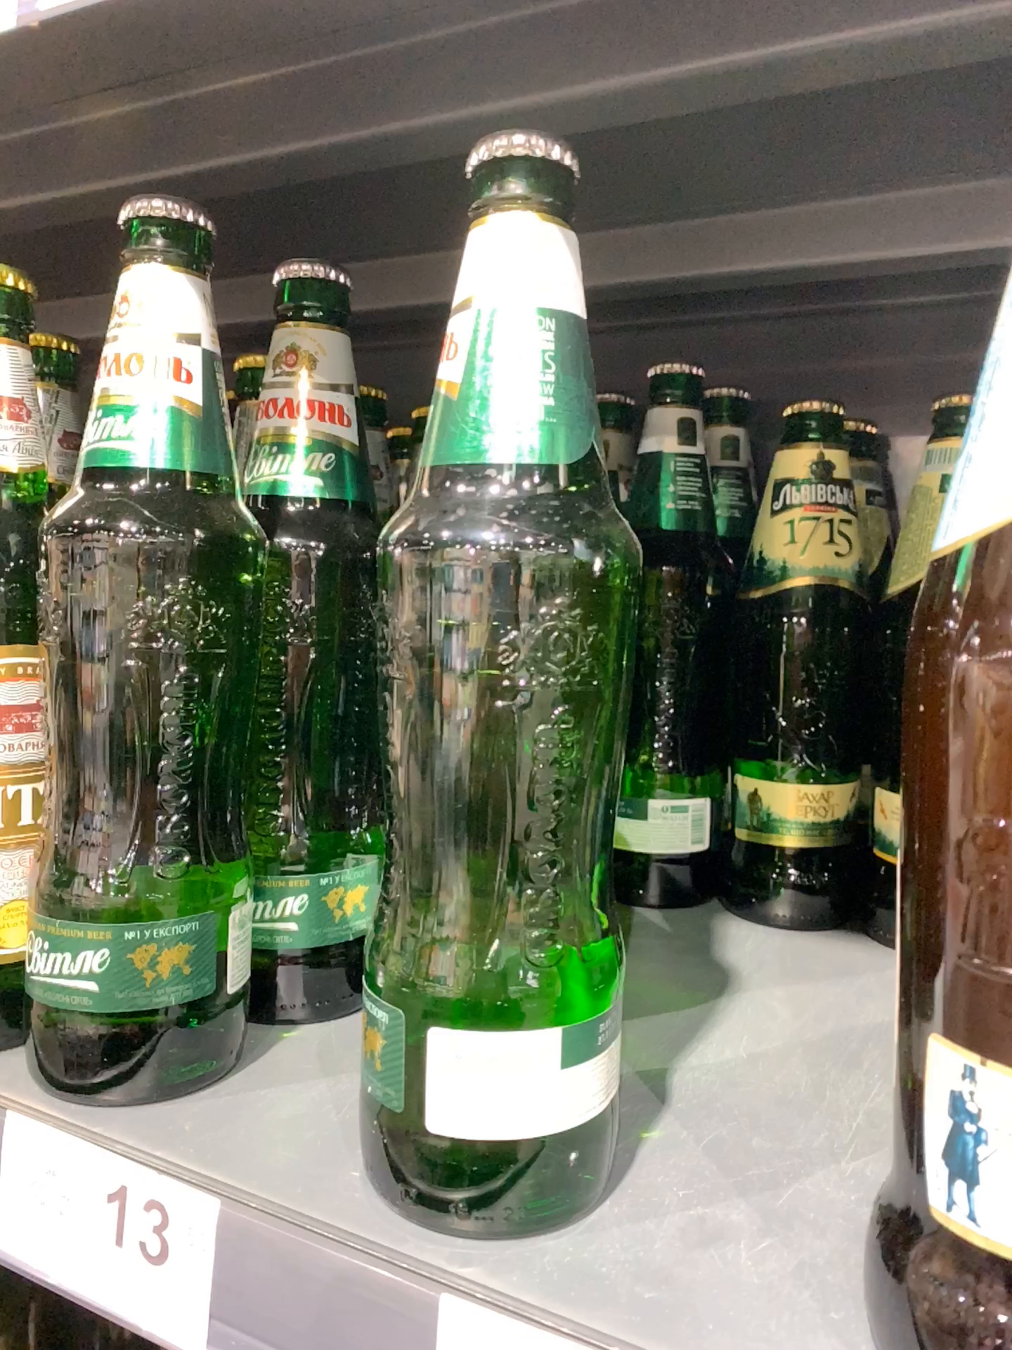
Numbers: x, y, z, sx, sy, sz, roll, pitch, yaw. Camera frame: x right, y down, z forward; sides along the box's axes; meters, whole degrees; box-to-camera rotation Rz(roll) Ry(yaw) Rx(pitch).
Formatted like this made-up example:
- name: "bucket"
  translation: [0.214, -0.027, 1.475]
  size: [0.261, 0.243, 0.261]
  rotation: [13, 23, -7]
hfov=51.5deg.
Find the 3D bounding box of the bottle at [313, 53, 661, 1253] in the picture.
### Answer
- name: "bottle"
  translation: [-0.001, -0.004, 0.265]
  size: [0.070, 0.257, 0.073]
  rotation: [2, 4, 0]
